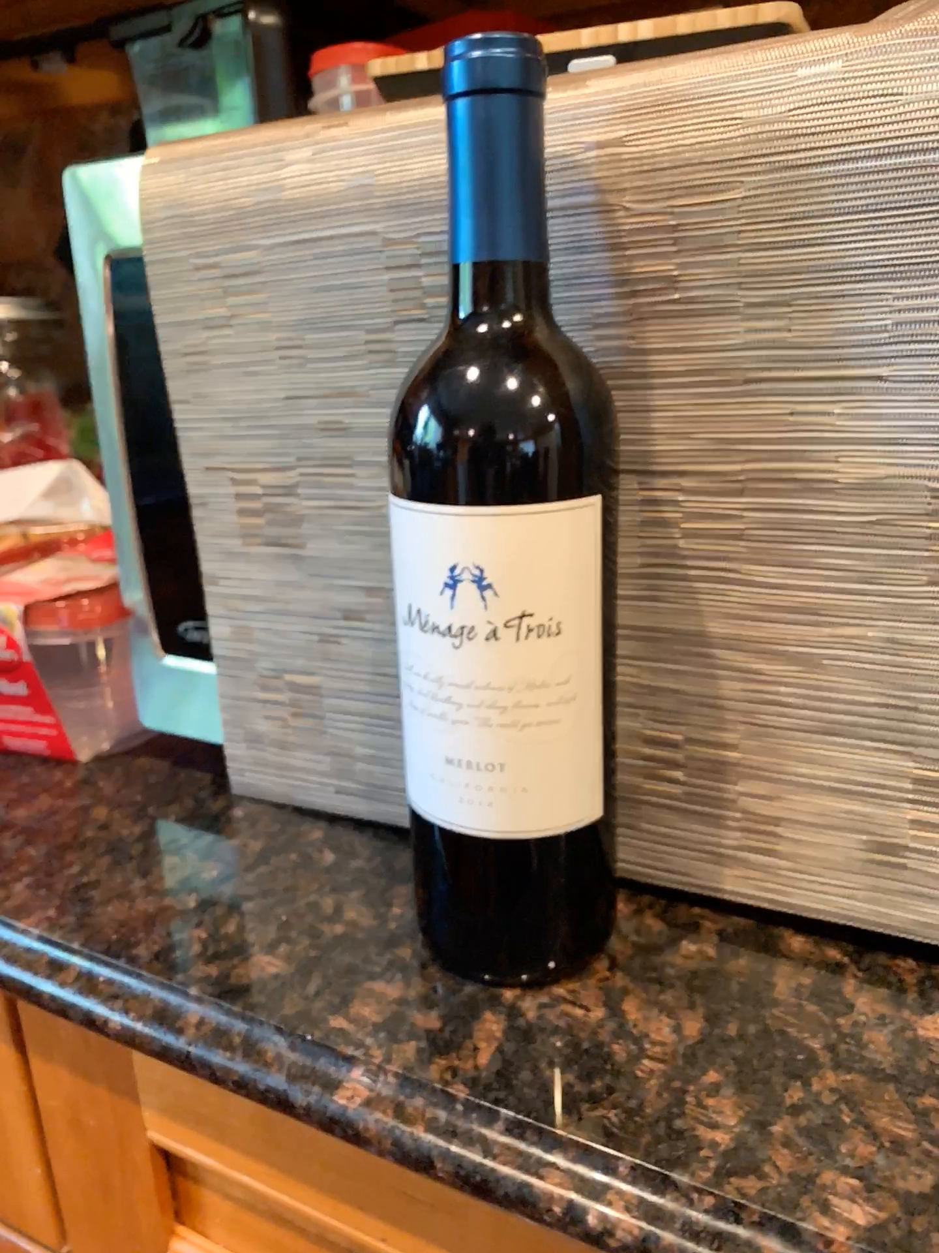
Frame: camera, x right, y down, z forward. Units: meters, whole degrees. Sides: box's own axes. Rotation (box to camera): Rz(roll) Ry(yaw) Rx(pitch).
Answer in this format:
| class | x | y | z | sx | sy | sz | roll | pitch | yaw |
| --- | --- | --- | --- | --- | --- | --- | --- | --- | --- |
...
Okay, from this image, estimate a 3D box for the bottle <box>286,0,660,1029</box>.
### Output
| class | x | y | z | sx | sy | sz | roll | pitch | yaw |
| --- | --- | --- | --- | --- | --- | --- | --- | --- | --- |
| bottle | 0.010 | -0.032 | 0.327 | 0.080 | 0.309 | 0.080 | -2 | 17 | 1 |
